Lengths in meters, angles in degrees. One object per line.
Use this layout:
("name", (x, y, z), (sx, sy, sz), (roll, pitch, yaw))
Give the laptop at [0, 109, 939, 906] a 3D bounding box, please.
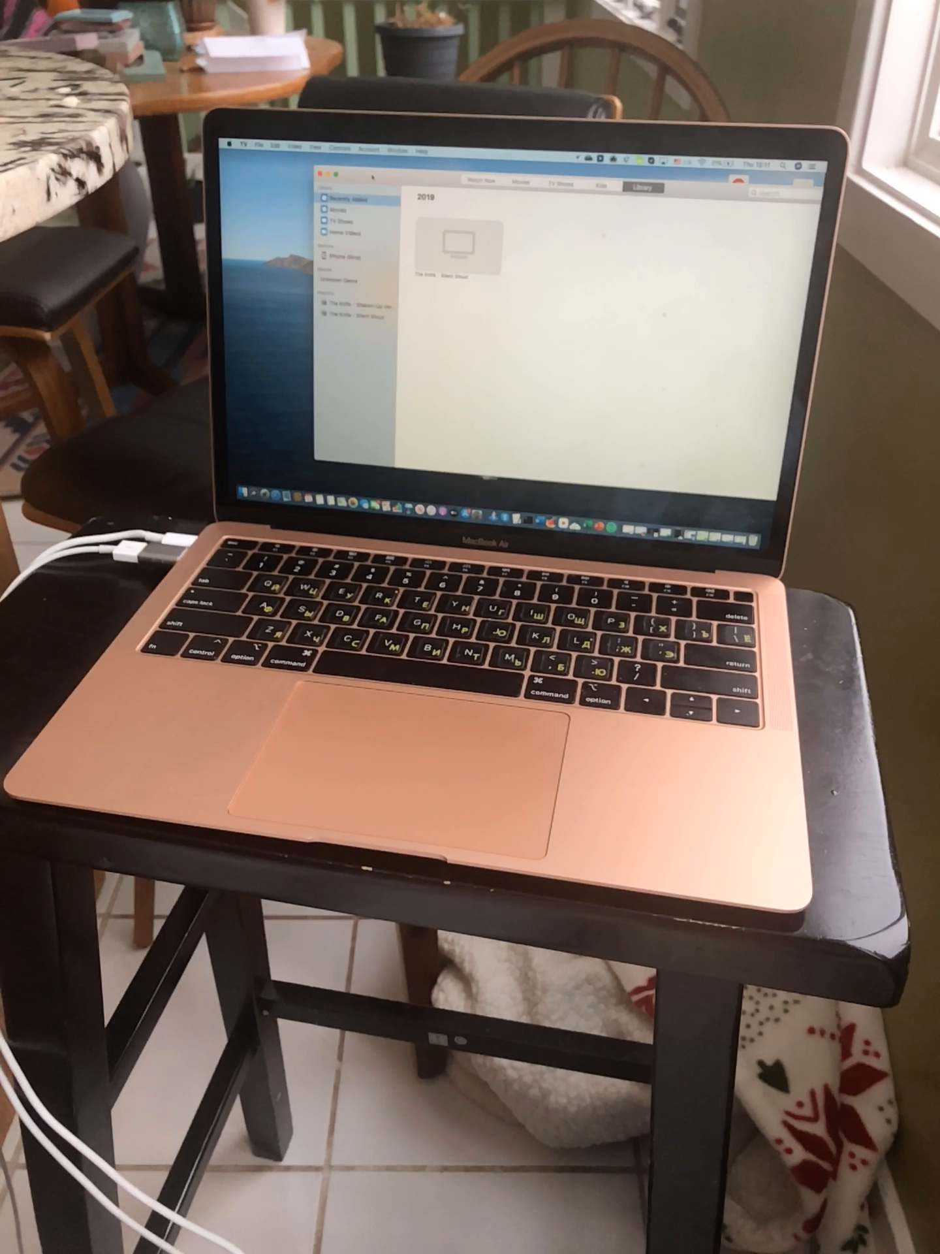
("laptop", (-0.006, -0.078, 0.427), (0.297, 0.196, 0.266), (6, 35, 9))
